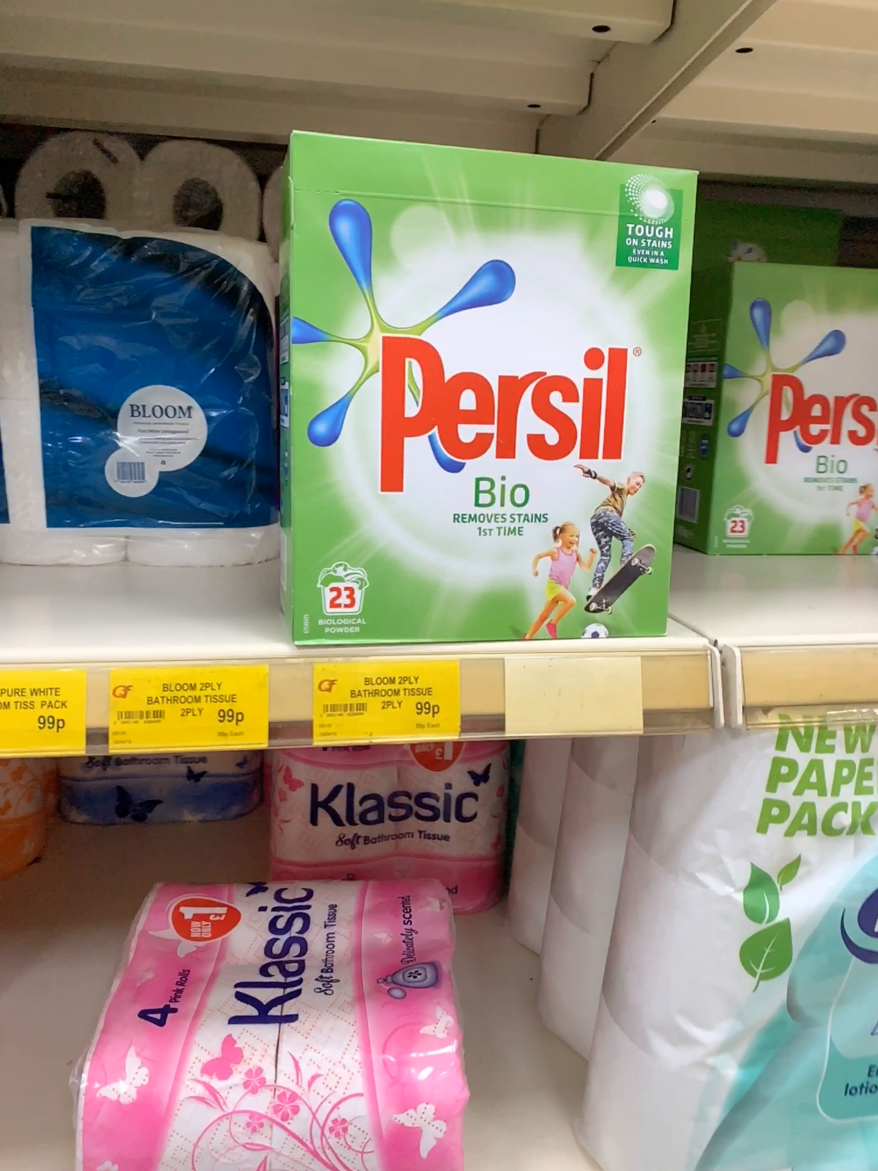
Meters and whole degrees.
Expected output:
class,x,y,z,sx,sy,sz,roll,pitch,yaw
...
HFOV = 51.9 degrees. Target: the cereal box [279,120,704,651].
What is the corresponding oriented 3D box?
class,x,y,z,sx,sy,sz,roll,pitch,yaw
cereal box,0.019,-0.097,0.480,0.200,0.239,0.090,-1,10,-12
